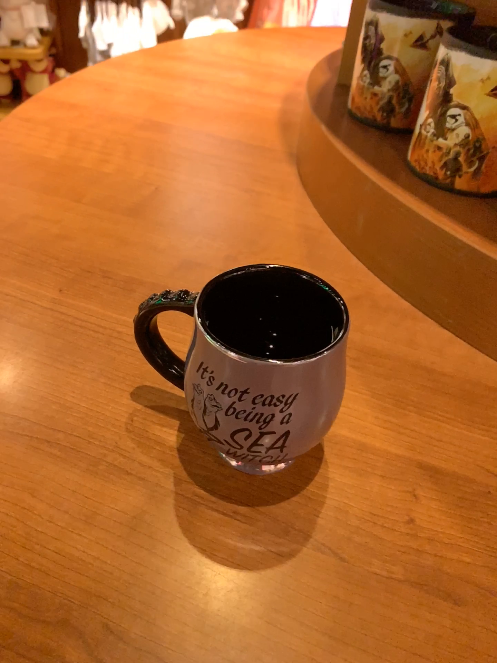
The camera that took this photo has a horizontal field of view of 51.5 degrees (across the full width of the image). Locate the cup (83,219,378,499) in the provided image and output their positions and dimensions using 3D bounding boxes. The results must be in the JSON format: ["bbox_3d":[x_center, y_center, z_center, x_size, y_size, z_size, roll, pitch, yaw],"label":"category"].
[{"bbox_3d":[-0.007,0.012,0.287,0.125,0.089,0.087,16,43,11],"label":"cup"}]
